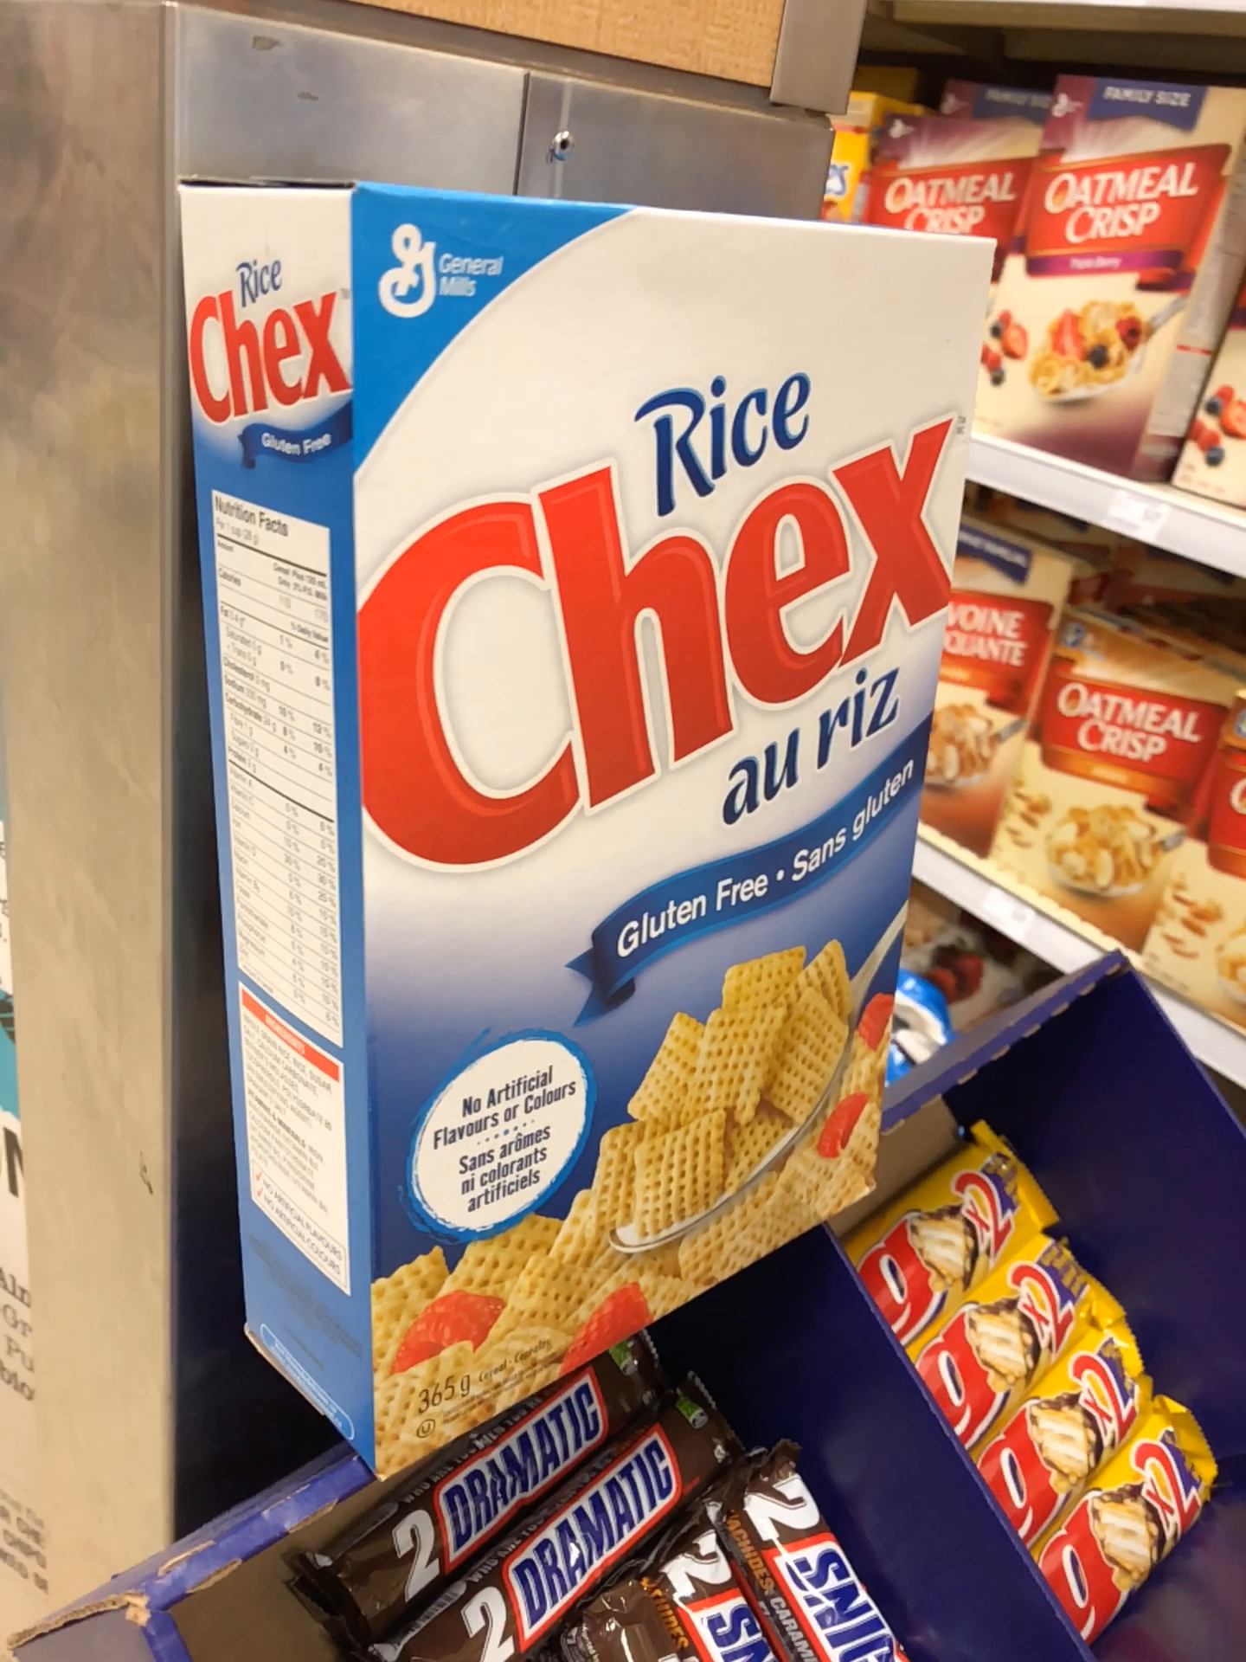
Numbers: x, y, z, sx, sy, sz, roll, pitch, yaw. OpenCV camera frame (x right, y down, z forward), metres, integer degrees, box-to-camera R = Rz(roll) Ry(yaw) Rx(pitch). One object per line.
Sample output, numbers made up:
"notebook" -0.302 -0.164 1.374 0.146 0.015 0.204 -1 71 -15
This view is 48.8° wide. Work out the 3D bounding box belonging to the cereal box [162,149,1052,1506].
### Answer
"cereal box" 0.002 -0.008 0.365 0.211 0.288 0.070 -15 27 -40
